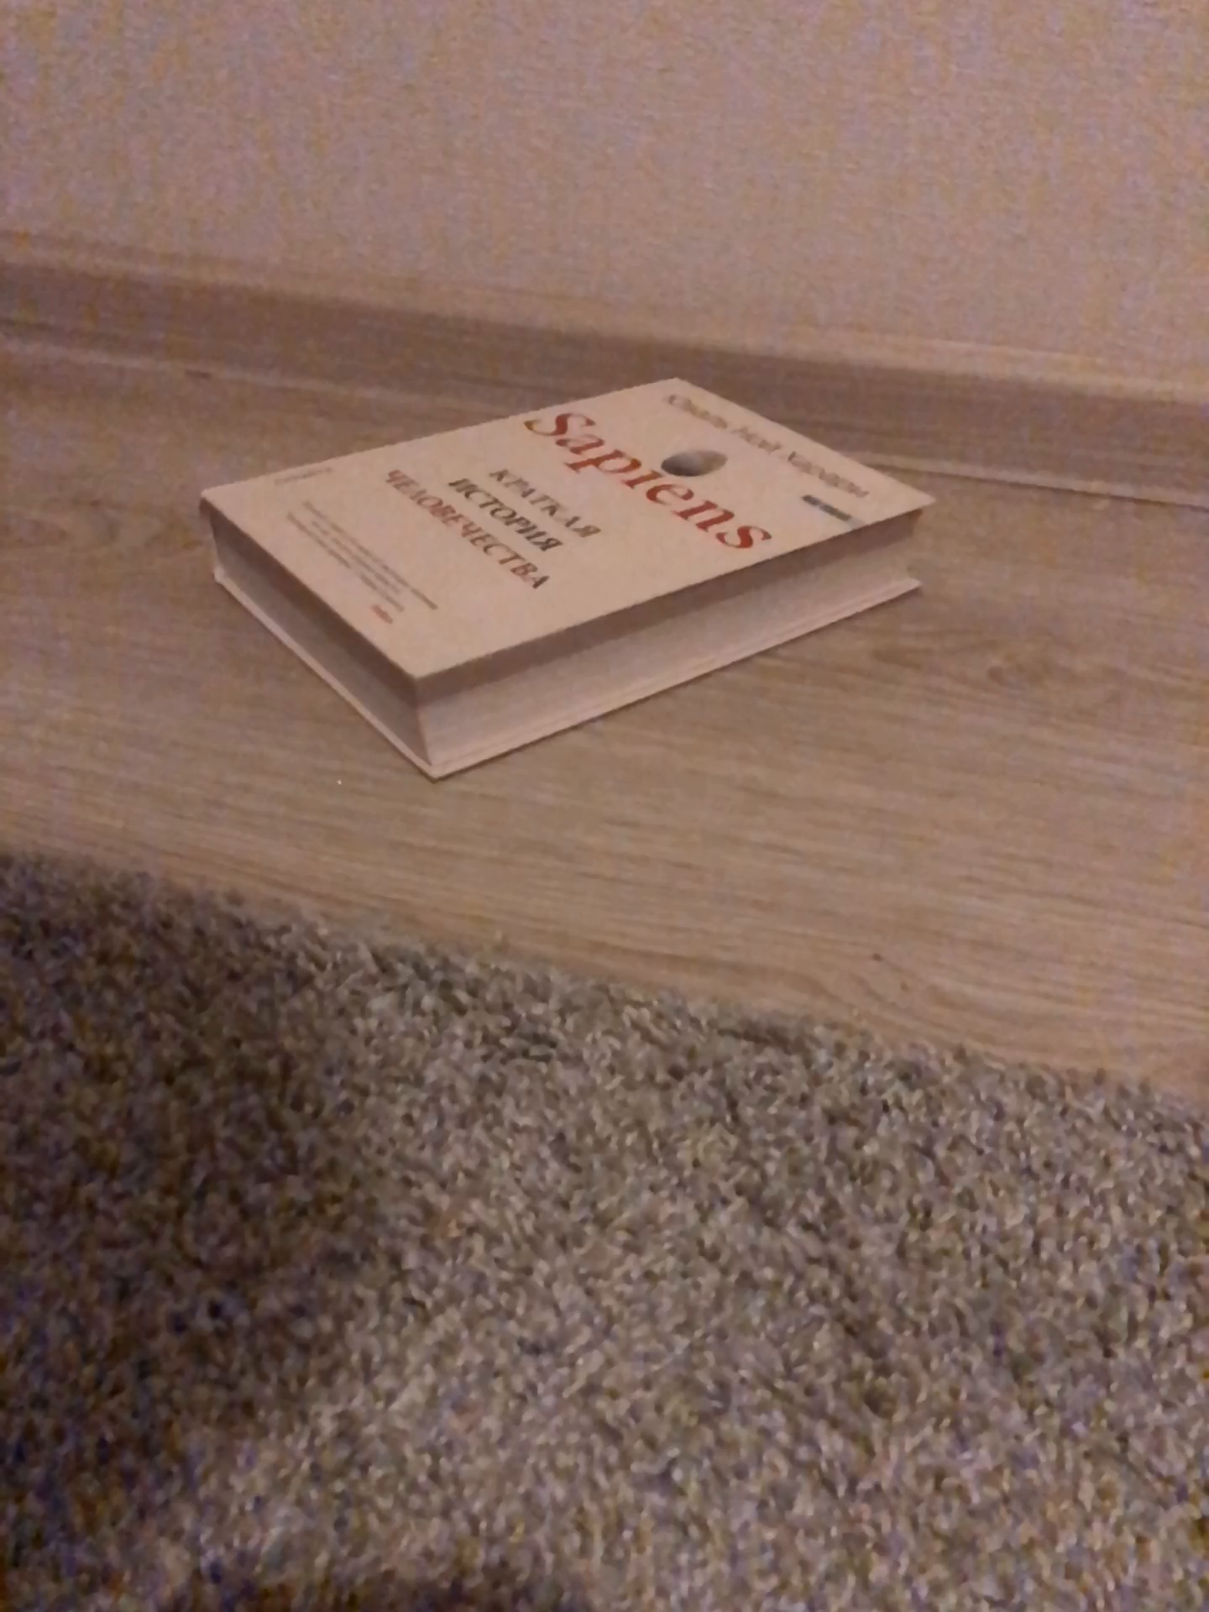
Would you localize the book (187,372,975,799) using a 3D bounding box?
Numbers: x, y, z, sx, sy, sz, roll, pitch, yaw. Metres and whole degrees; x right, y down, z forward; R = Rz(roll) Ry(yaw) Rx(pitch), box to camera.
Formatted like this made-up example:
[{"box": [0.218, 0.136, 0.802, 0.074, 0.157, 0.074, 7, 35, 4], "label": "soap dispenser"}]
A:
[{"box": [-0.008, -0.109, 0.548, 0.259, 0.040, 0.187, -24, 44, -30], "label": "book"}]
